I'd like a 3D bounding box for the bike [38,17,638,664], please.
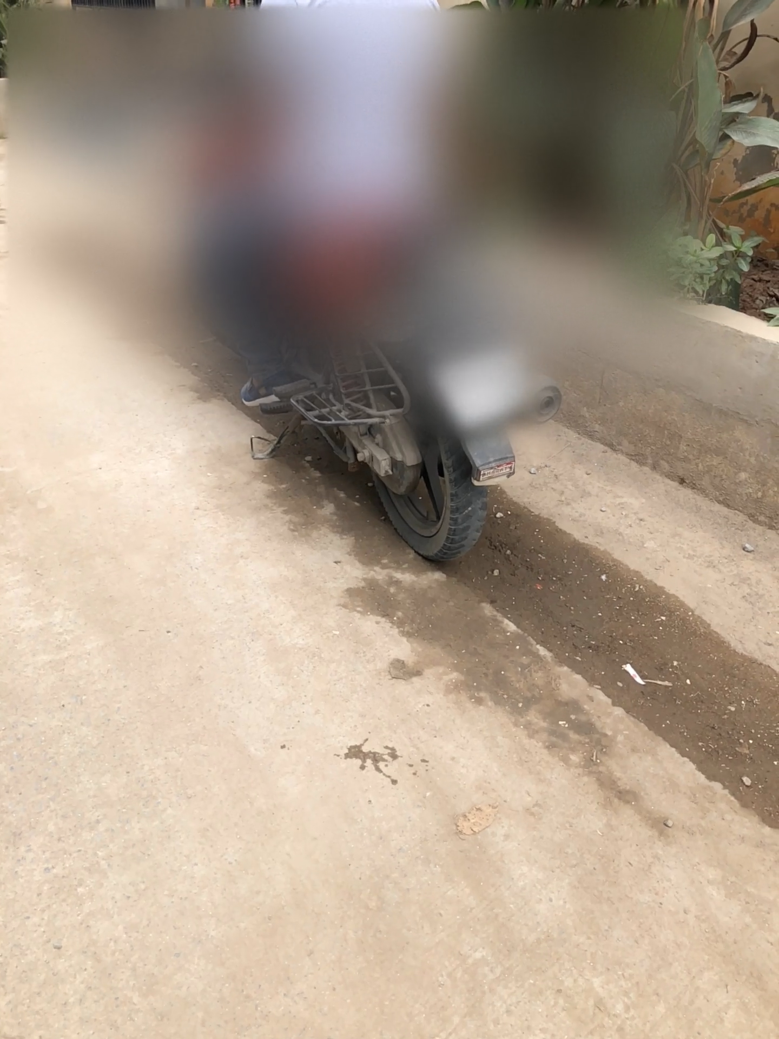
[{"bbox_3d":[-0.322,-0.680,2.443,0.691,1.207,1.793,-16,36,-27],"label":"bike"}]
